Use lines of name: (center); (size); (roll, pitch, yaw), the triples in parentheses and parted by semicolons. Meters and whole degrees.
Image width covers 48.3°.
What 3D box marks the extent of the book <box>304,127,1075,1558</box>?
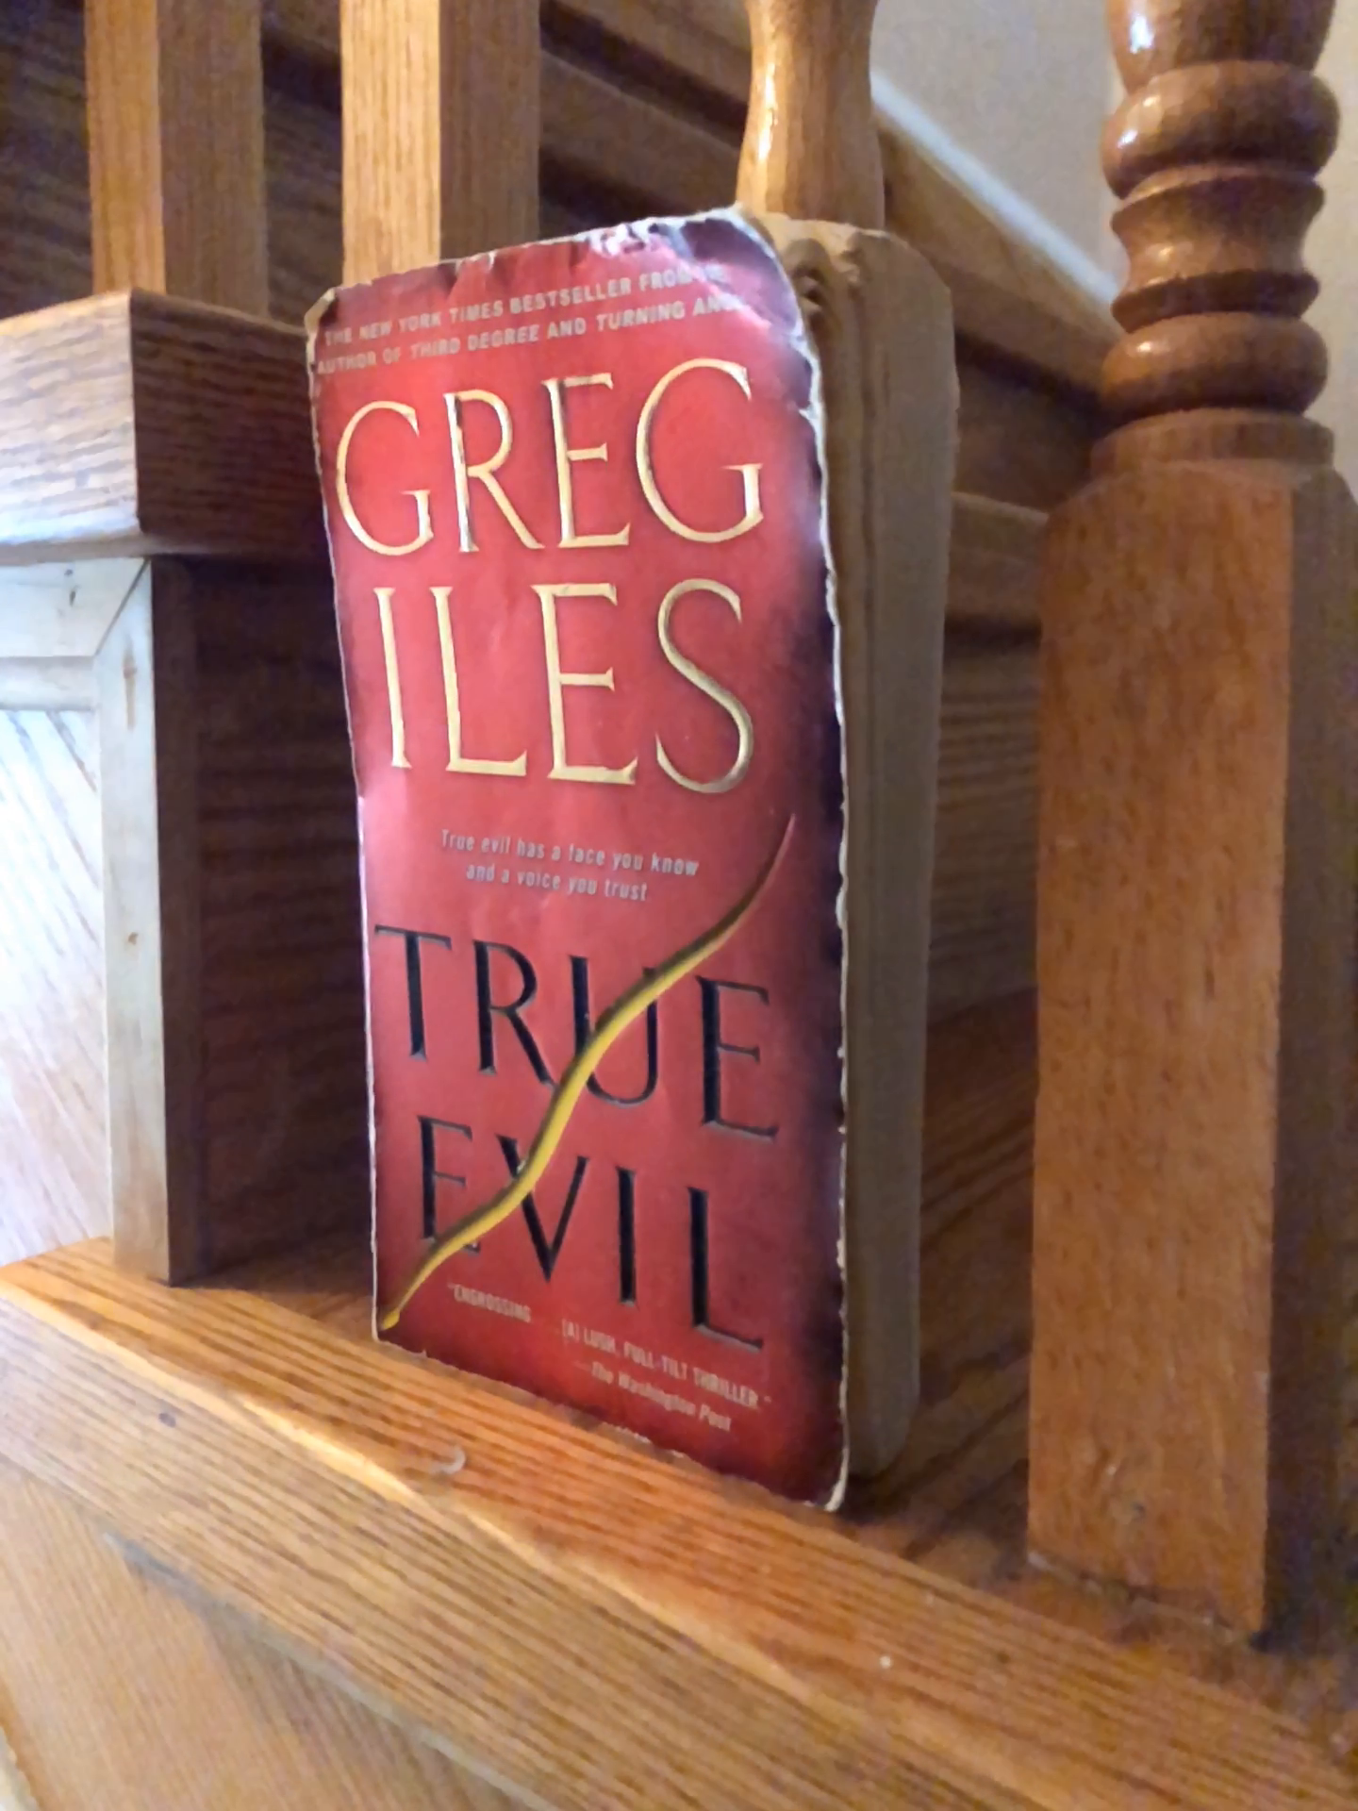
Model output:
book: (-0.001, -0.012, 0.280); (0.120, 0.205, 0.068); (5, 8, 38)
